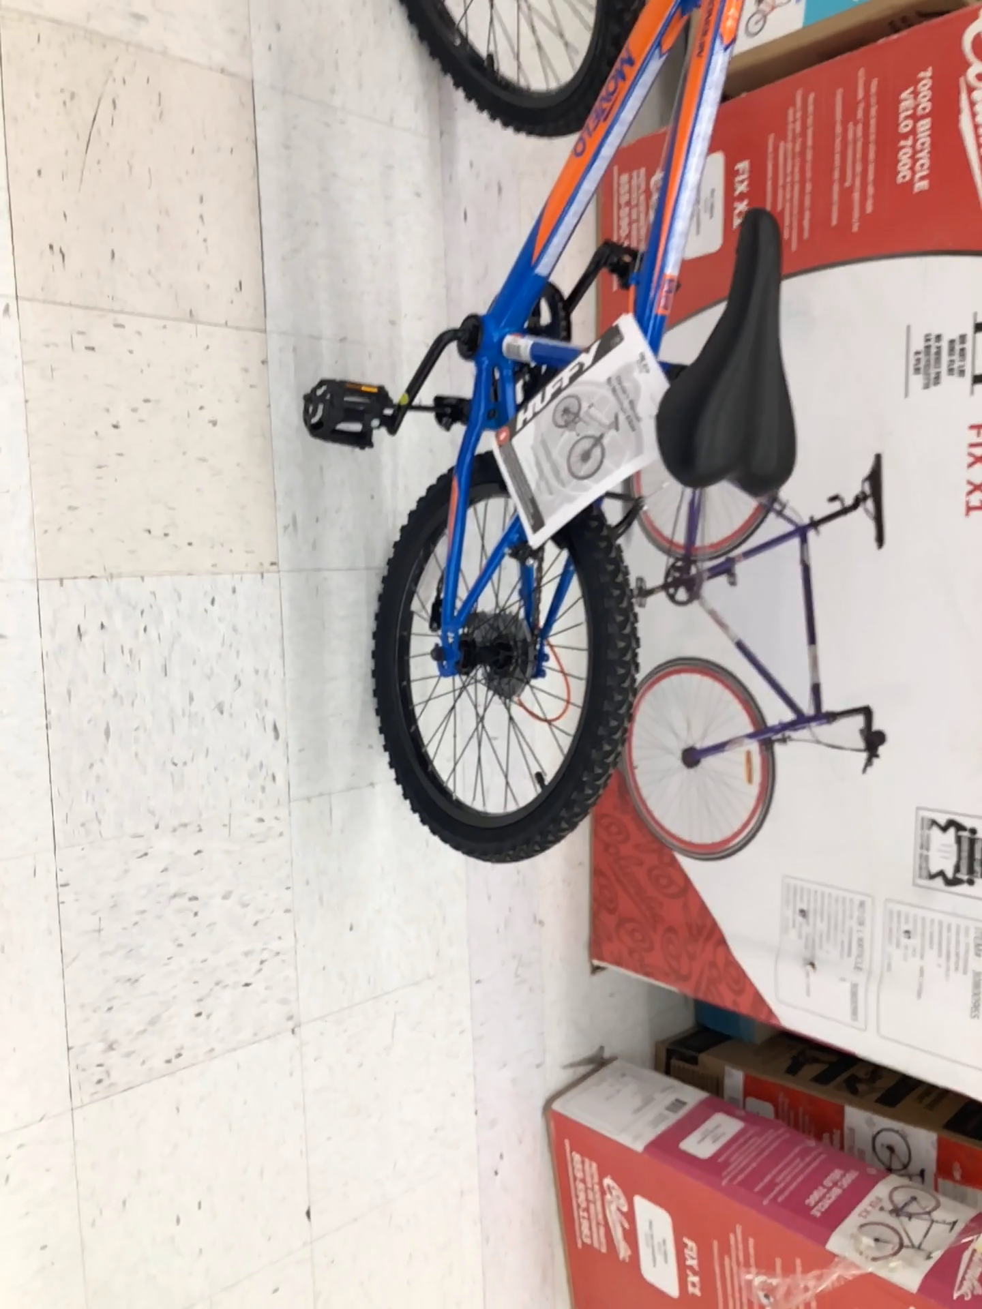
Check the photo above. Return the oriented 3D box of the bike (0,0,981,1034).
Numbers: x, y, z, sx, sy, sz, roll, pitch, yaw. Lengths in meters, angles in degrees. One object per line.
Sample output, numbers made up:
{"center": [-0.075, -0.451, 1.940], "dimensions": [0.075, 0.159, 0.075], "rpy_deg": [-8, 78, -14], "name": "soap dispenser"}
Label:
{"center": [-0.015, -0.433, 1.188], "dimensions": [0.587, 0.869, 1.314], "rpy_deg": [-7, 92, -42], "name": "bike"}
